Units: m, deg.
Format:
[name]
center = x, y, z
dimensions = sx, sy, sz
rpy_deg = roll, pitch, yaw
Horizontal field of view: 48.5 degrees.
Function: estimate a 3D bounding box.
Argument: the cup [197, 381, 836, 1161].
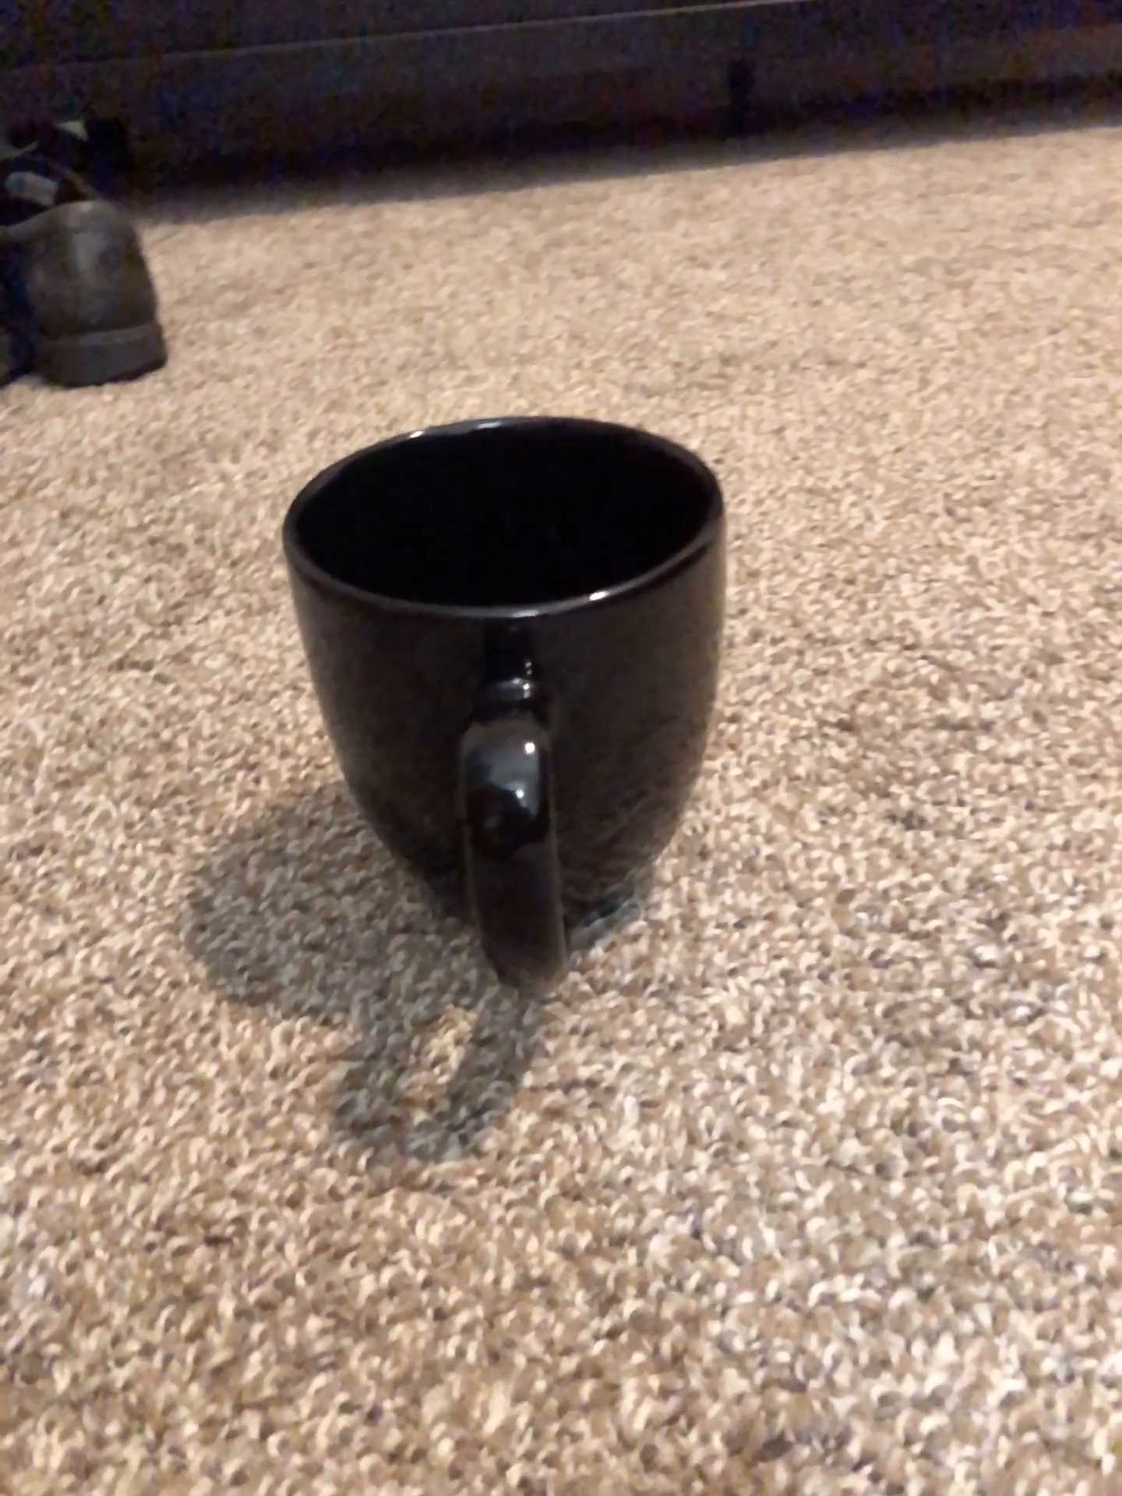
[cup]
center = -0.008, -0.007, 0.258
dimensions = 0.090, 0.090, 0.141
rpy_deg = -6, 32, -1
